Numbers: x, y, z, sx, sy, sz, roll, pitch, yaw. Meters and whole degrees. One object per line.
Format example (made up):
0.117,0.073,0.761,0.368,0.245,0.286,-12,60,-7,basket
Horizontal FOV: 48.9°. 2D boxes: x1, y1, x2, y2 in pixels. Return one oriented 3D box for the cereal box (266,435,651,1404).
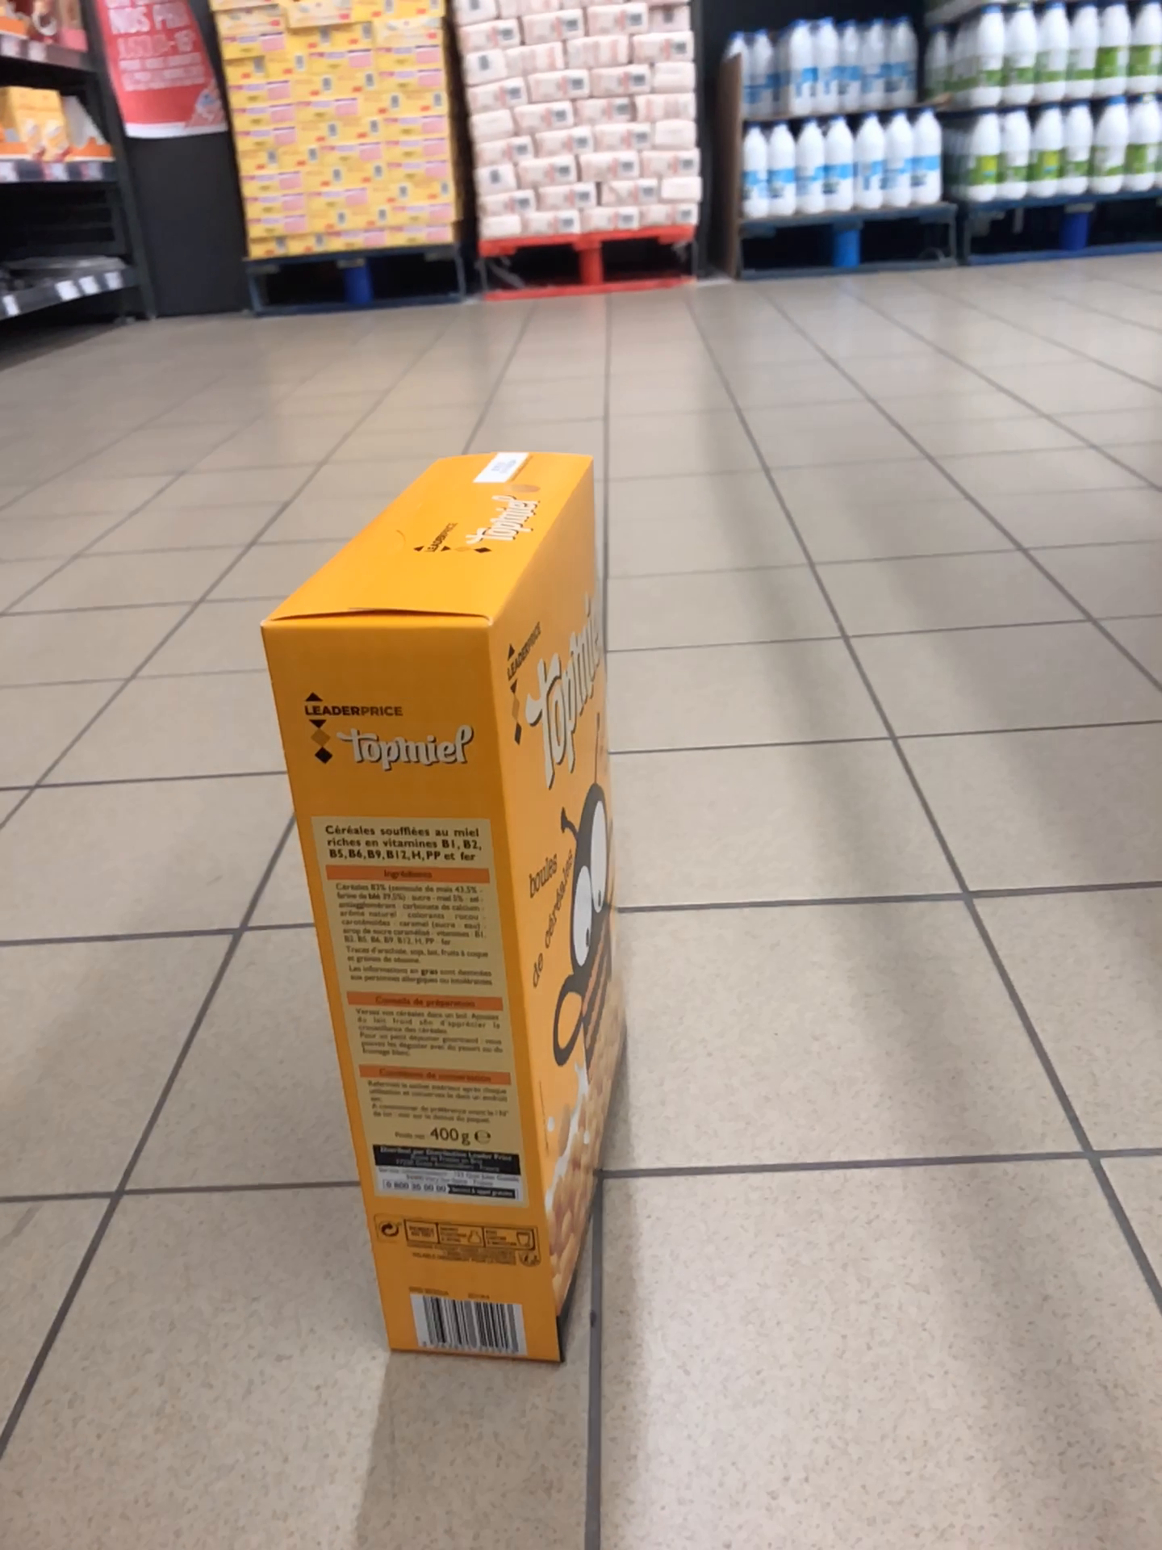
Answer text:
-0.022,0.036,0.457,0.060,0.269,0.211,1,25,10,cereal box
